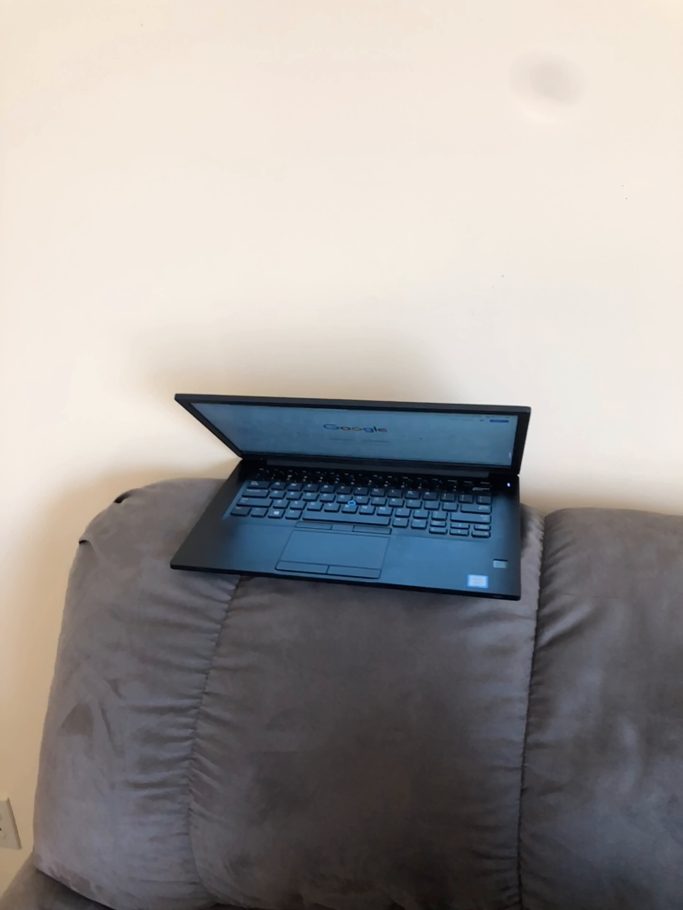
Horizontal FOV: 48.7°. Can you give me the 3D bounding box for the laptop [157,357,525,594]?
[{"bbox_3d":[0.015,0.004,0.759,0.321,0.128,0.214,3,25,12],"label":"laptop"}]
